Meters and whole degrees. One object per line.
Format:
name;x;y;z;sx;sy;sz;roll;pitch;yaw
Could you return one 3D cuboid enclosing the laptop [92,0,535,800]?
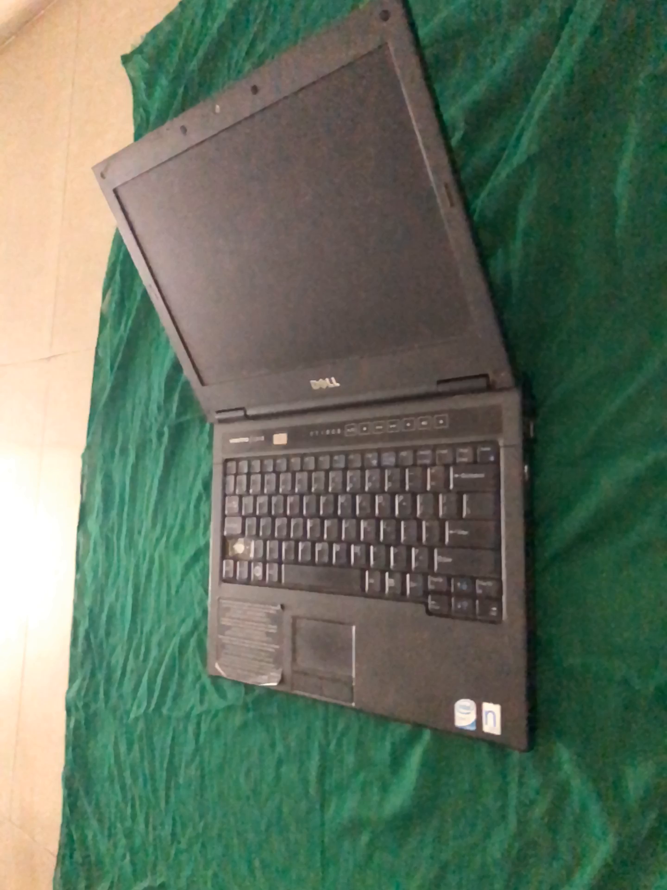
laptop;-0.035;-0.025;0.530;0.314;0.126;0.438;-4;87;44
